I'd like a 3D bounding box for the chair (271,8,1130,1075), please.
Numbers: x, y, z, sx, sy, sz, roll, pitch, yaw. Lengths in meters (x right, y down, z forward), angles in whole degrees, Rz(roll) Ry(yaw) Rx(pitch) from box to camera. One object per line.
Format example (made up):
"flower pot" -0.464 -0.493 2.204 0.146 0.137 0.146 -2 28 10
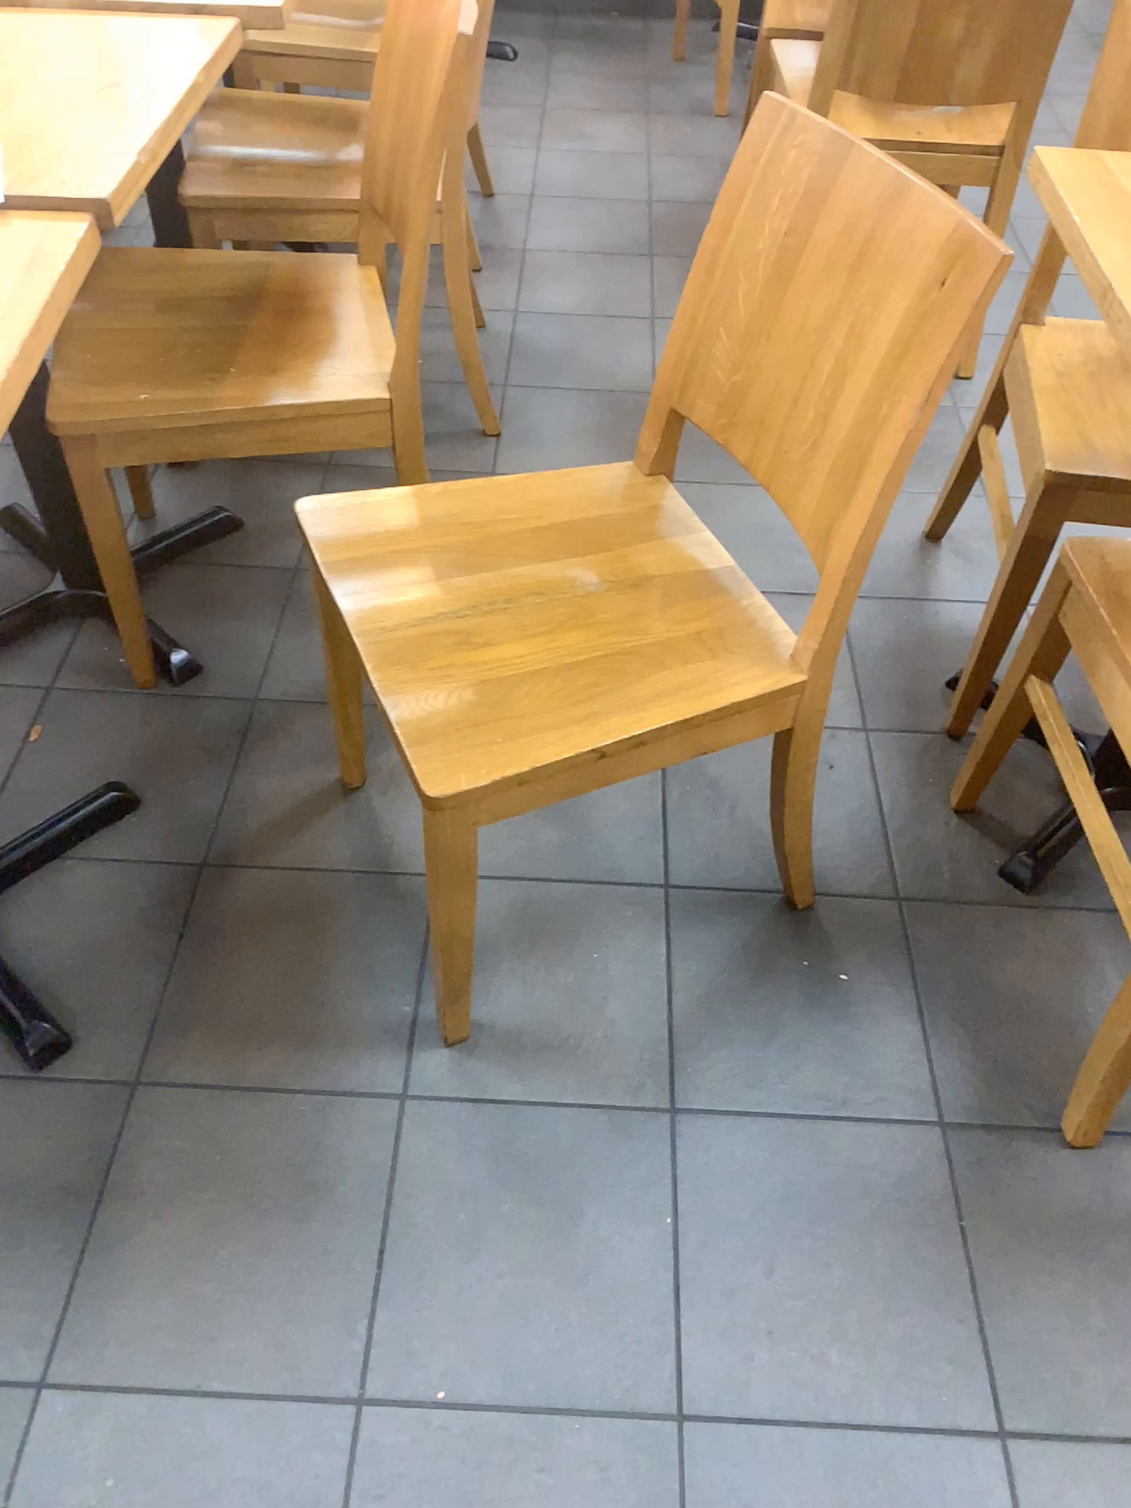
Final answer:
"chair" 0.092 -0.200 1.216 0.611 0.892 0.514 -14 50 -20
